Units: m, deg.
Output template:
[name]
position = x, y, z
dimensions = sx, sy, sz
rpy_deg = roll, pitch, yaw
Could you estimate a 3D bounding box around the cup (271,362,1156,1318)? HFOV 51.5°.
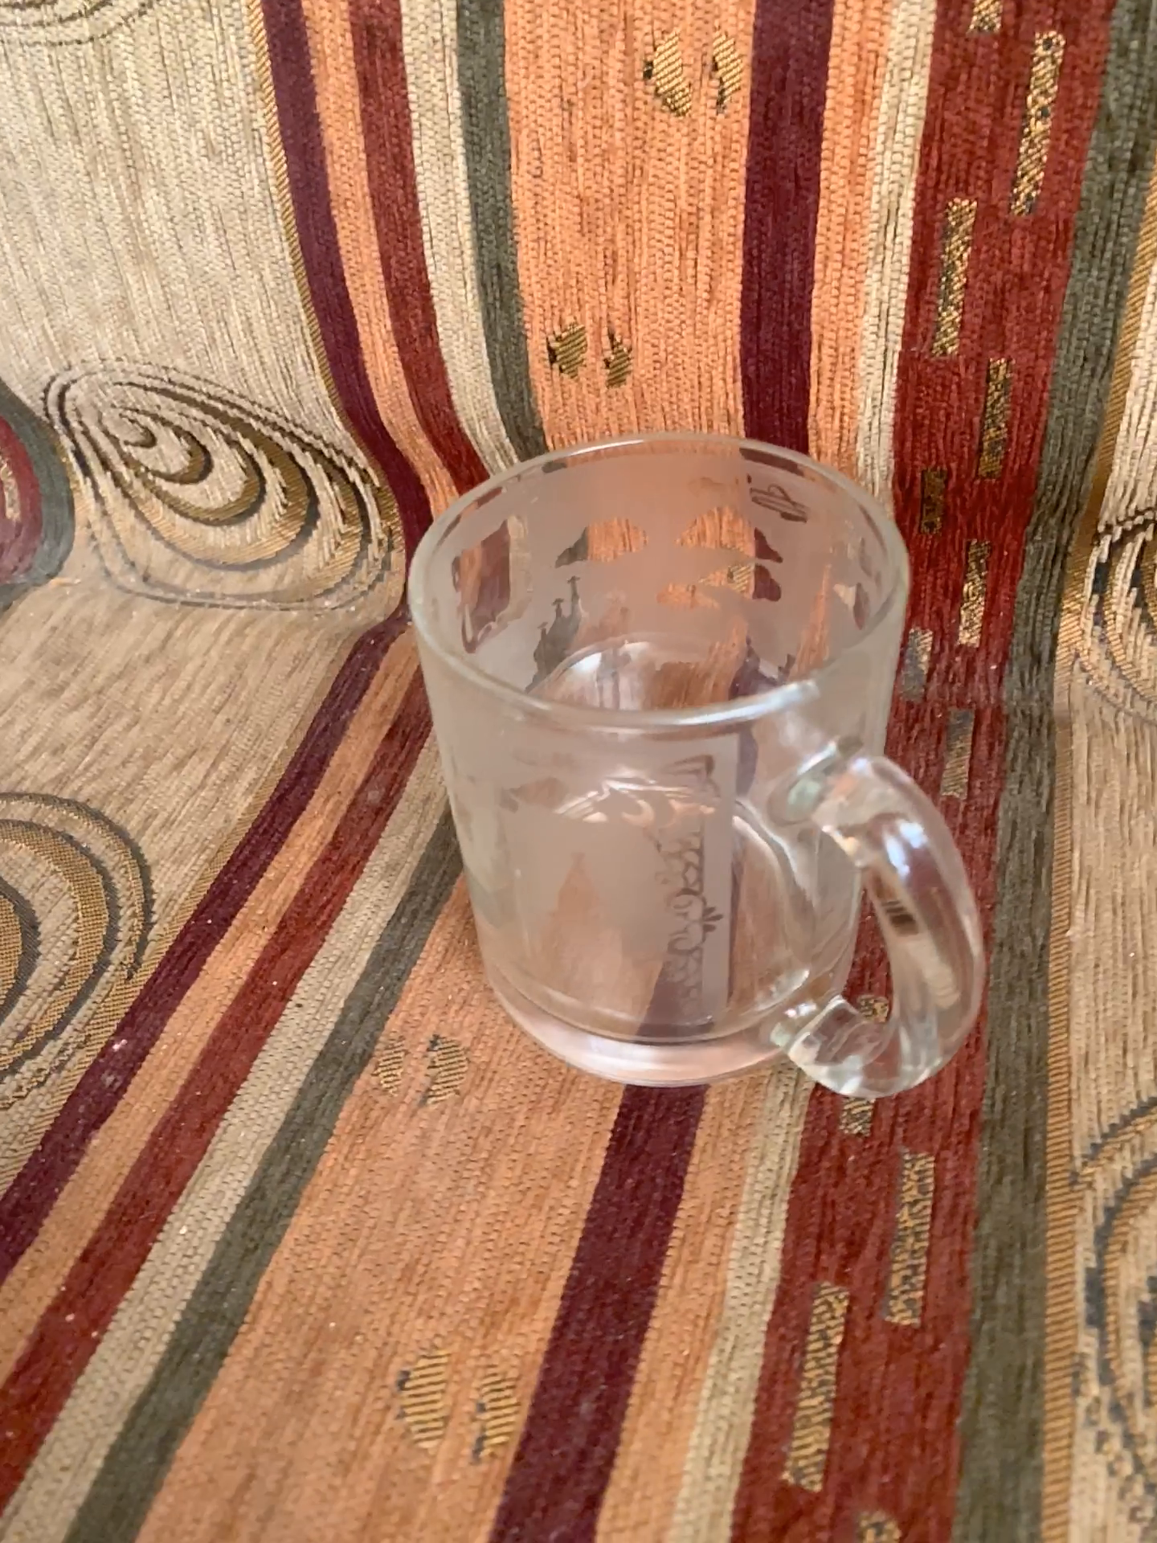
[cup]
position = 0.024, 0.002, 0.203
dimensions = 0.084, 0.086, 0.115
rpy_deg = -33, 50, -28
